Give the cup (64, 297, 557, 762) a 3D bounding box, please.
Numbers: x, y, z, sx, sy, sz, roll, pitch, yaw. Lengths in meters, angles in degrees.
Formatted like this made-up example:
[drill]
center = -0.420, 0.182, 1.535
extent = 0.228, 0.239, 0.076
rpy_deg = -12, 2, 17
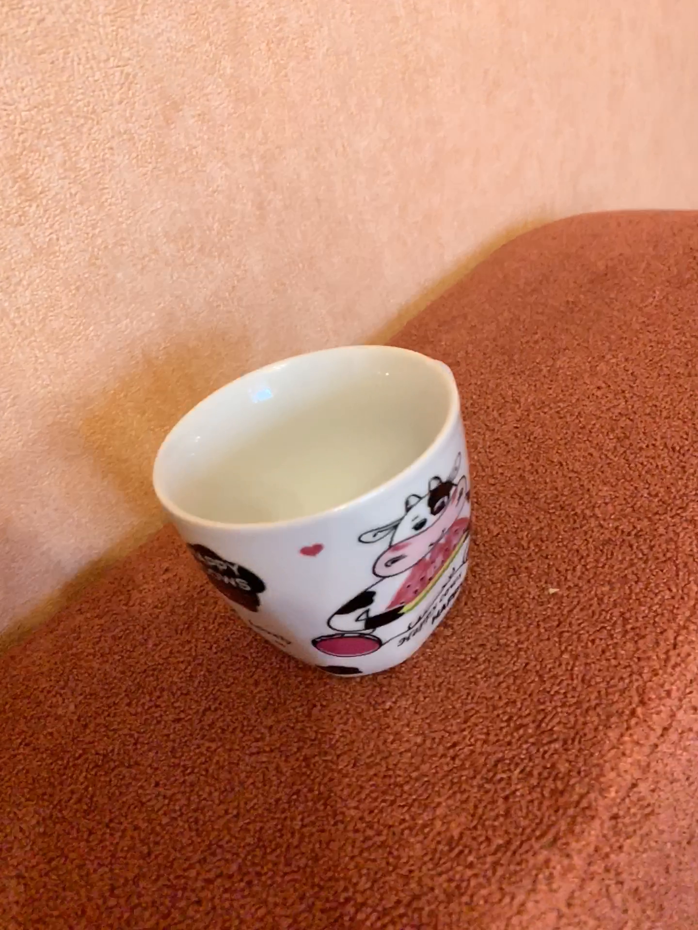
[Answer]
[cup]
center = -0.006, 0.008, 0.197
extent = 0.079, 0.056, 0.095
rpy_deg = 23, 52, 41
